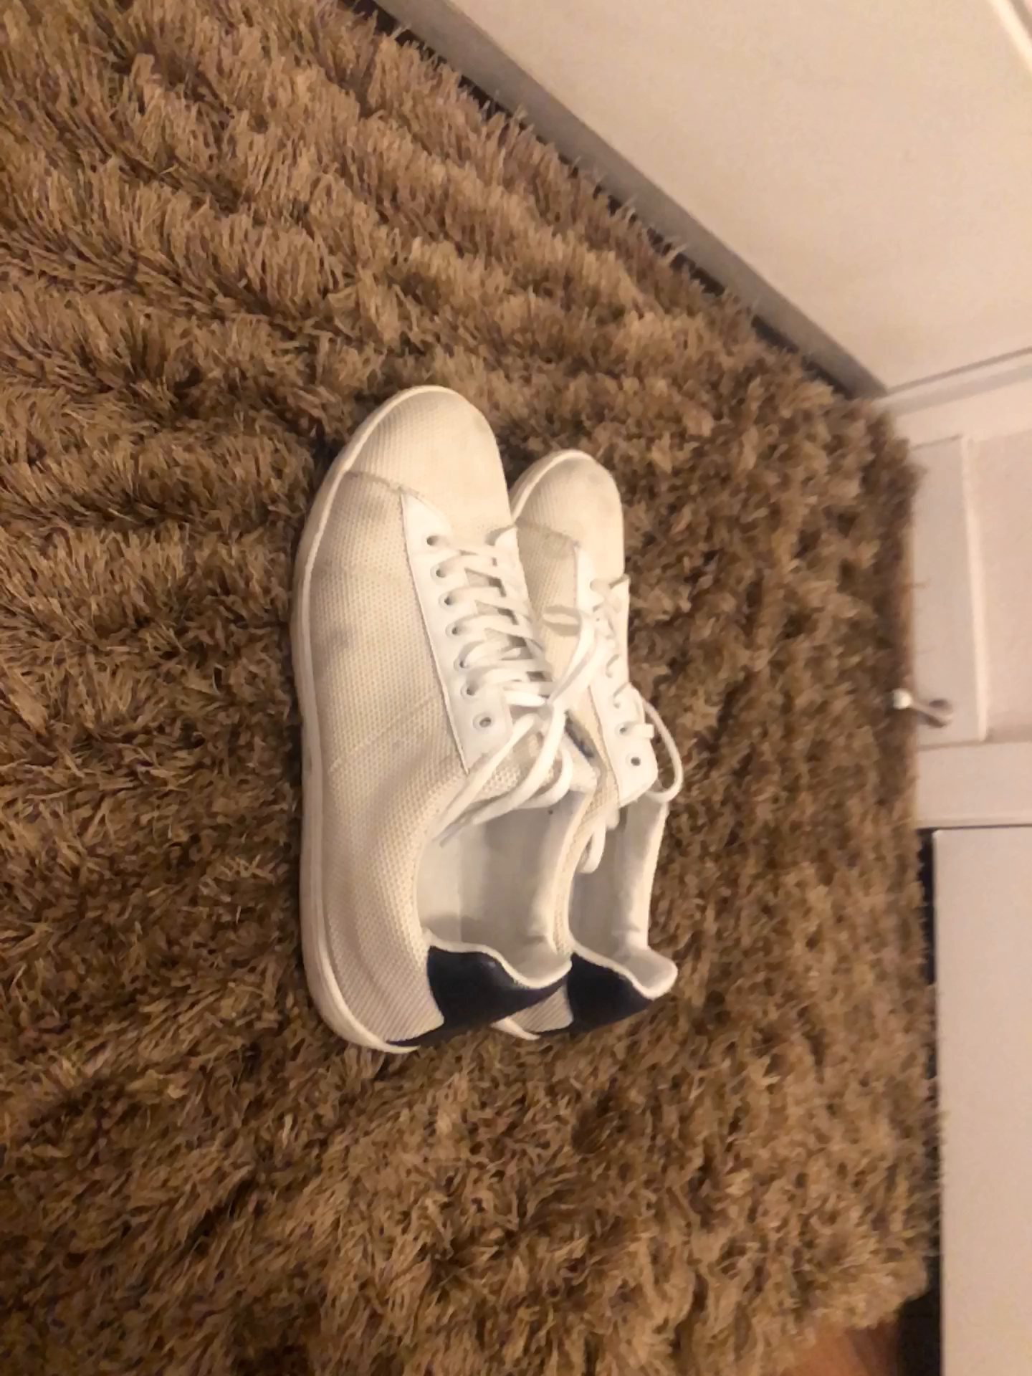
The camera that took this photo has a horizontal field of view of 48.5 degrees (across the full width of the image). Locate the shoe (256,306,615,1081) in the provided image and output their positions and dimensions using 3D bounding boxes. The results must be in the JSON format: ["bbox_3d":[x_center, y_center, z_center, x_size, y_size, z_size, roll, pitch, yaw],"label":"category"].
[{"bbox_3d":[-0.025,0.006,0.443,0.101,0.078,0.263,15,72,-47],"label":"shoe"}]

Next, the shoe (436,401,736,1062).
[{"bbox_3d":[0.036,0.023,0.512,0.105,0.078,0.263,16,71,-47],"label":"shoe"}]
